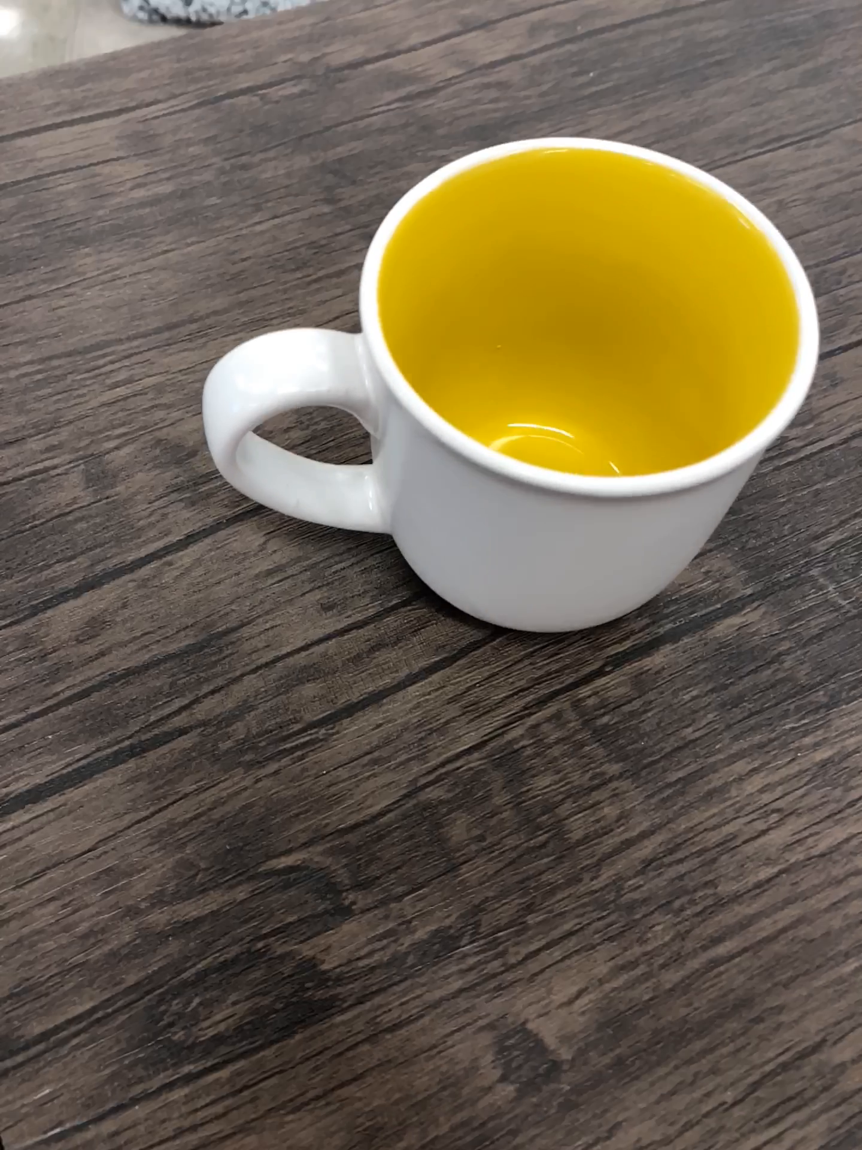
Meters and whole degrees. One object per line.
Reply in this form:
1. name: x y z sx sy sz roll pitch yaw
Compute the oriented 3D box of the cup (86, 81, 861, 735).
1. cup: 0.005 -0.038 0.232 0.140 0.090 0.100 -11 64 -9
